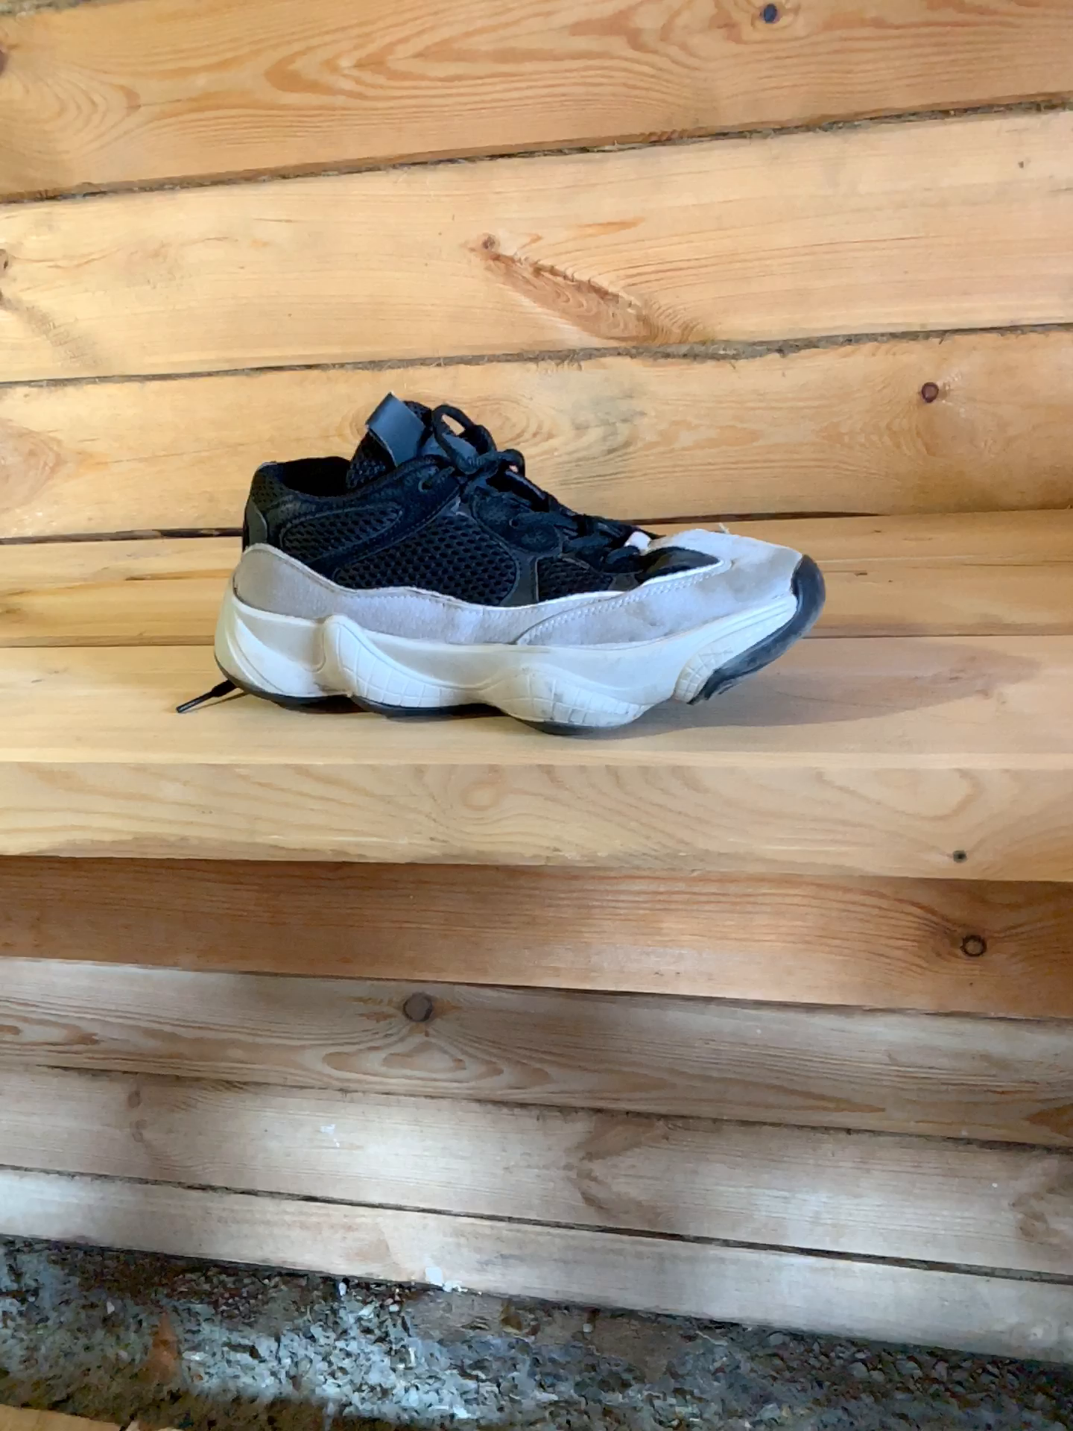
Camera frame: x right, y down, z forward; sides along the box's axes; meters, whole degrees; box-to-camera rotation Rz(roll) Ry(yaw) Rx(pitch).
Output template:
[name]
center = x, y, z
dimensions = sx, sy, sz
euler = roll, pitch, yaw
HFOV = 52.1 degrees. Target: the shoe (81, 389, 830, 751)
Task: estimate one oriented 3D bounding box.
[shoe]
center = -0.028, -0.069, 0.448
dimensions = 0.270, 0.109, 0.121
euler = 4, 19, 22
